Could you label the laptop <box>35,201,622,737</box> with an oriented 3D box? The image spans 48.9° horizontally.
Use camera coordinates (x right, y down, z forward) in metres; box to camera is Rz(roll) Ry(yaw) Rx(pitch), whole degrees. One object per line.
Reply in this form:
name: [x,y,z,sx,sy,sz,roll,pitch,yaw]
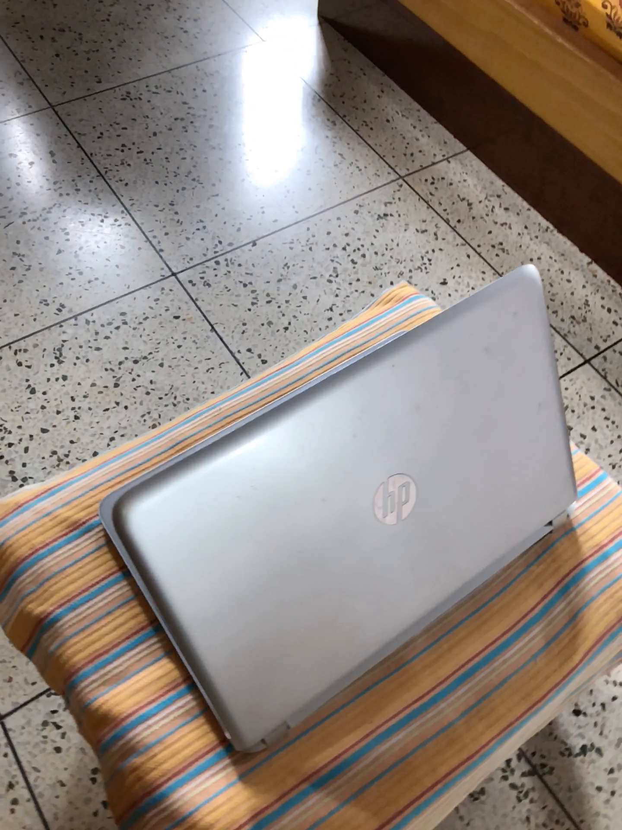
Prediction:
laptop: [0.022,0.032,0.568,0.372,0.184,0.237,-30,66,-20]
